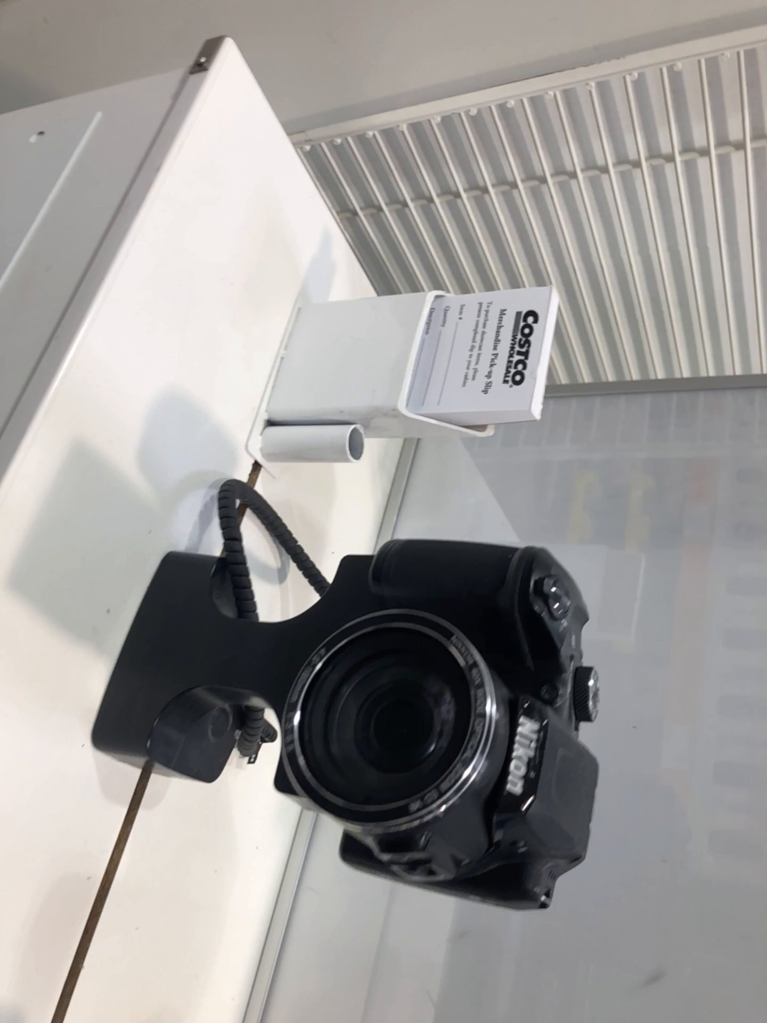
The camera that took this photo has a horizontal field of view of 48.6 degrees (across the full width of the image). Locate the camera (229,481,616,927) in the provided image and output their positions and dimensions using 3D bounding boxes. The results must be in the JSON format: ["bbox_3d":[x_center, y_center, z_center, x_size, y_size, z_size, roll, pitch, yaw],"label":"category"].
[{"bbox_3d":[0.024,0.065,0.287,0.101,0.079,0.116,51,47,-53],"label":"camera"}]
